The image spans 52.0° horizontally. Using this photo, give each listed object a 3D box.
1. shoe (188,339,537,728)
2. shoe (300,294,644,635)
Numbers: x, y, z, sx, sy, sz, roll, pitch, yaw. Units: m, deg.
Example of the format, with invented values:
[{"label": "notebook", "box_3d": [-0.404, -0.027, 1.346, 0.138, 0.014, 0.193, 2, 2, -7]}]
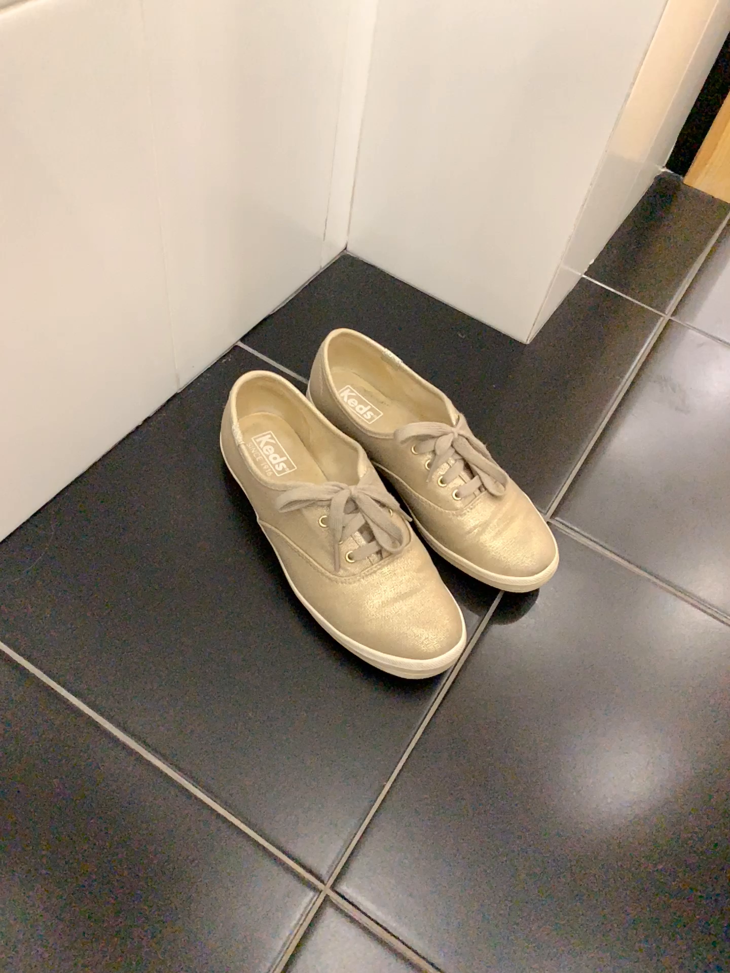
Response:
[{"label": "shoe", "box_3d": [-0.014, 0.024, 0.495, 0.090, 0.100, 0.230, -29, 63, -28]}, {"label": "shoe", "box_3d": [0.065, -0.022, 0.547, 0.090, 0.100, 0.230, -33, 65, -30]}]
